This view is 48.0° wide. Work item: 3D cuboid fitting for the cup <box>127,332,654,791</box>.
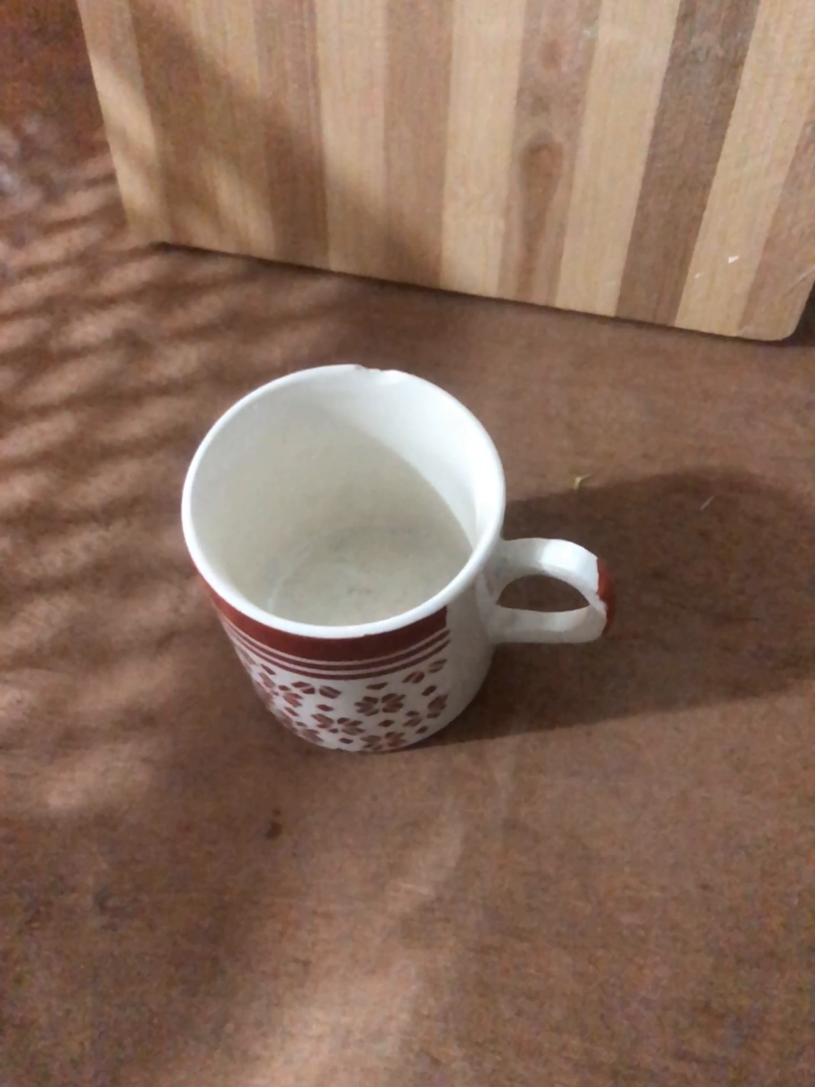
[{"bbox_3d":[0.002,0.006,0.202,0.090,0.070,0.070,4,60,7],"label":"cup"}]
